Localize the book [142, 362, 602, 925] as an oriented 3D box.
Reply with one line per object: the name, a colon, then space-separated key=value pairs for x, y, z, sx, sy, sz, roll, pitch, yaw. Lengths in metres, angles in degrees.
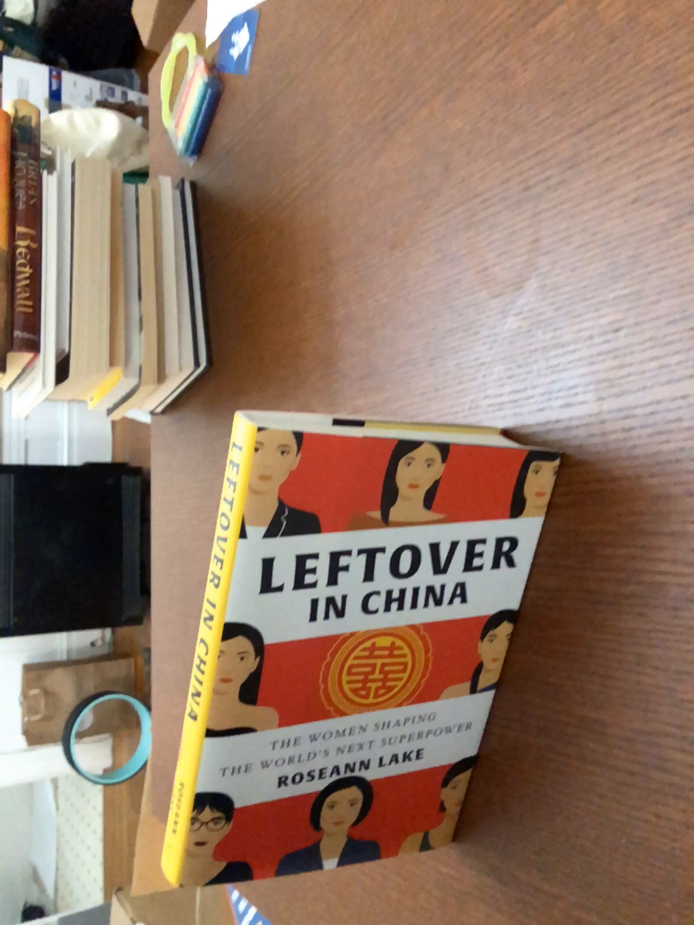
book: x=0.009 y=0.091 z=0.391 sx=0.060 sy=0.179 sz=0.260 roll=34 pitch=117 yaw=53
